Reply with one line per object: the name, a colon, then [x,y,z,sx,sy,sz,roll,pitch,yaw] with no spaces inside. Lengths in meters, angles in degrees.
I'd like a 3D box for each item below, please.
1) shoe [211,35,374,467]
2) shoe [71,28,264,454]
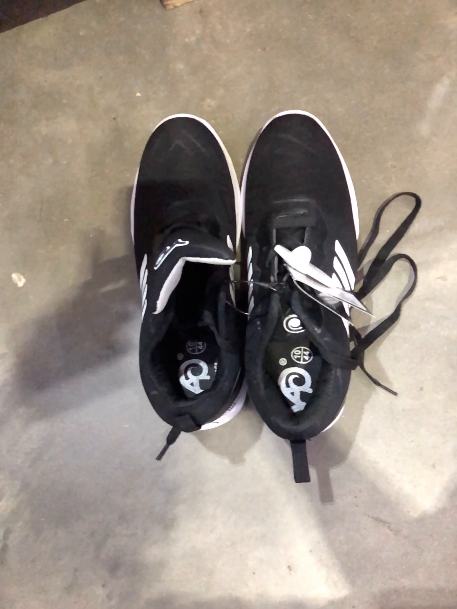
shoe: [0.050,-0.038,0.432,0.110,0.130,0.320,-1,81,7]
shoe: [-0.050,-0.049,0.457,0.120,0.130,0.330,-7,80,6]
